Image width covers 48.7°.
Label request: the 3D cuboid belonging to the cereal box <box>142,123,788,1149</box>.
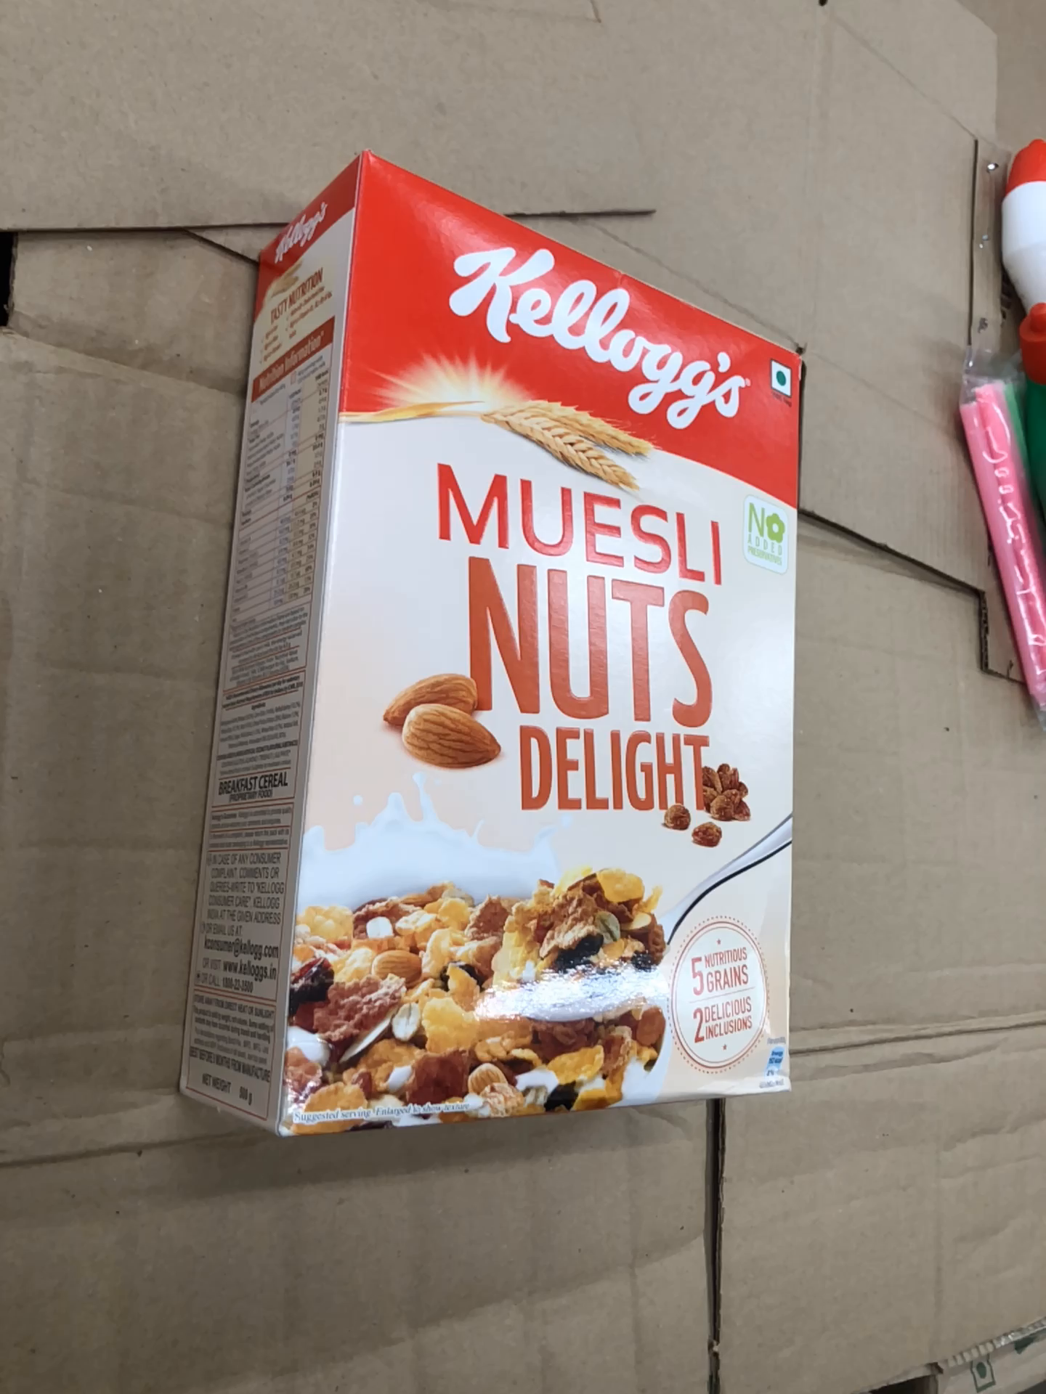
[{"bbox_3d":[-0.005,-0.008,0.364,0.181,0.070,0.260,11,76,-36],"label":"cereal box"}]
